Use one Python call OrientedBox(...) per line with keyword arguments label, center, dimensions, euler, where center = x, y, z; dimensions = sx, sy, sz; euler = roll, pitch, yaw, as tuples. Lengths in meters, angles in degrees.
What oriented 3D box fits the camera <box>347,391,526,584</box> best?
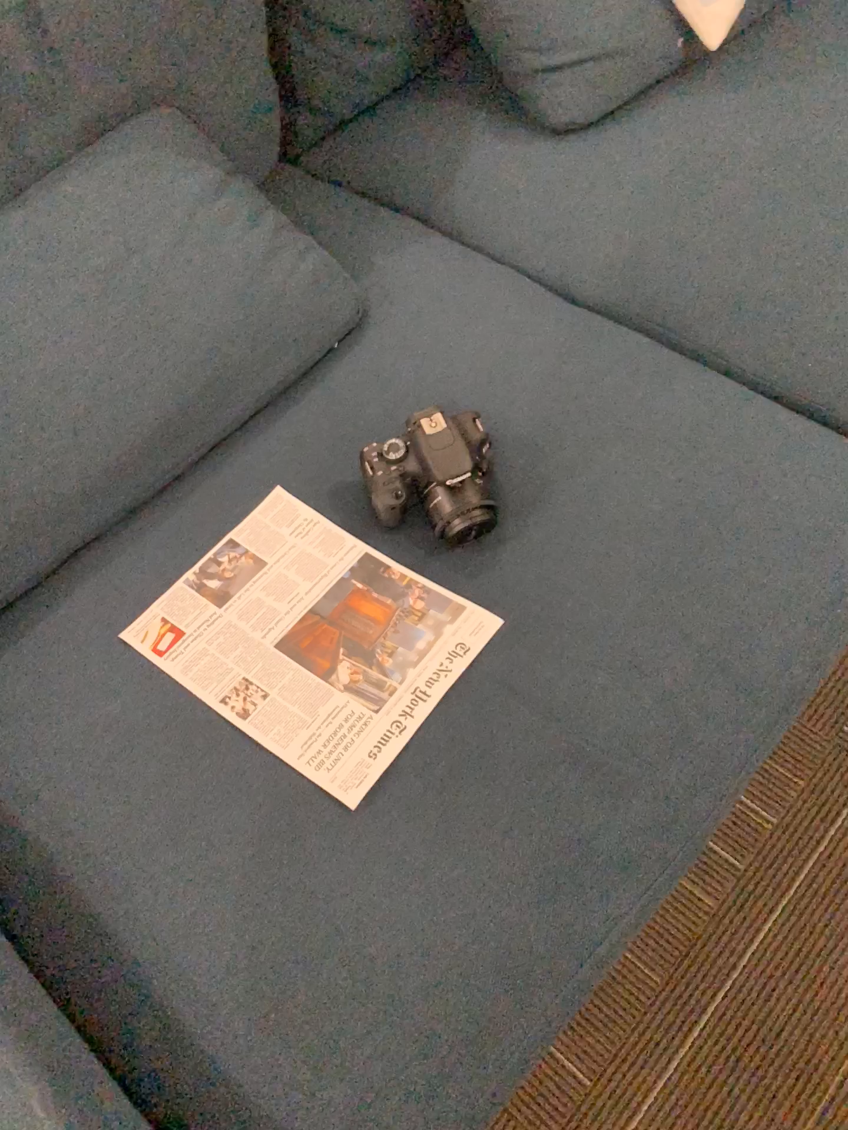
OrientedBox(label="camera", center=(0.010, -0.068, 0.791), dimensions=(0.120, 0.100, 0.109), euler=(-22, 72, -7))
